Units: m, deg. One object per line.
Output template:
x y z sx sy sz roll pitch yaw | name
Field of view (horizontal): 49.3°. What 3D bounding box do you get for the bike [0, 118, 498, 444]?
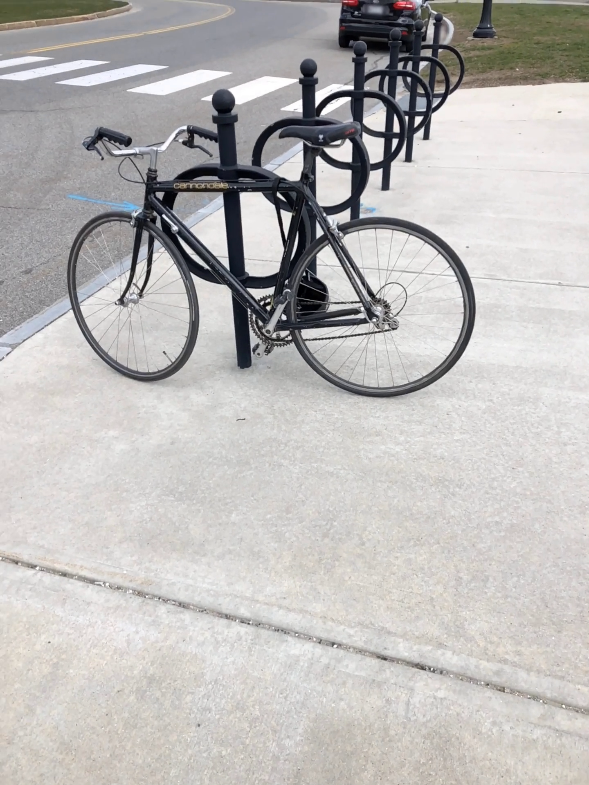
-0.151 -0.371 2.048 1.382 0.805 0.488 6 34 16 | bike
